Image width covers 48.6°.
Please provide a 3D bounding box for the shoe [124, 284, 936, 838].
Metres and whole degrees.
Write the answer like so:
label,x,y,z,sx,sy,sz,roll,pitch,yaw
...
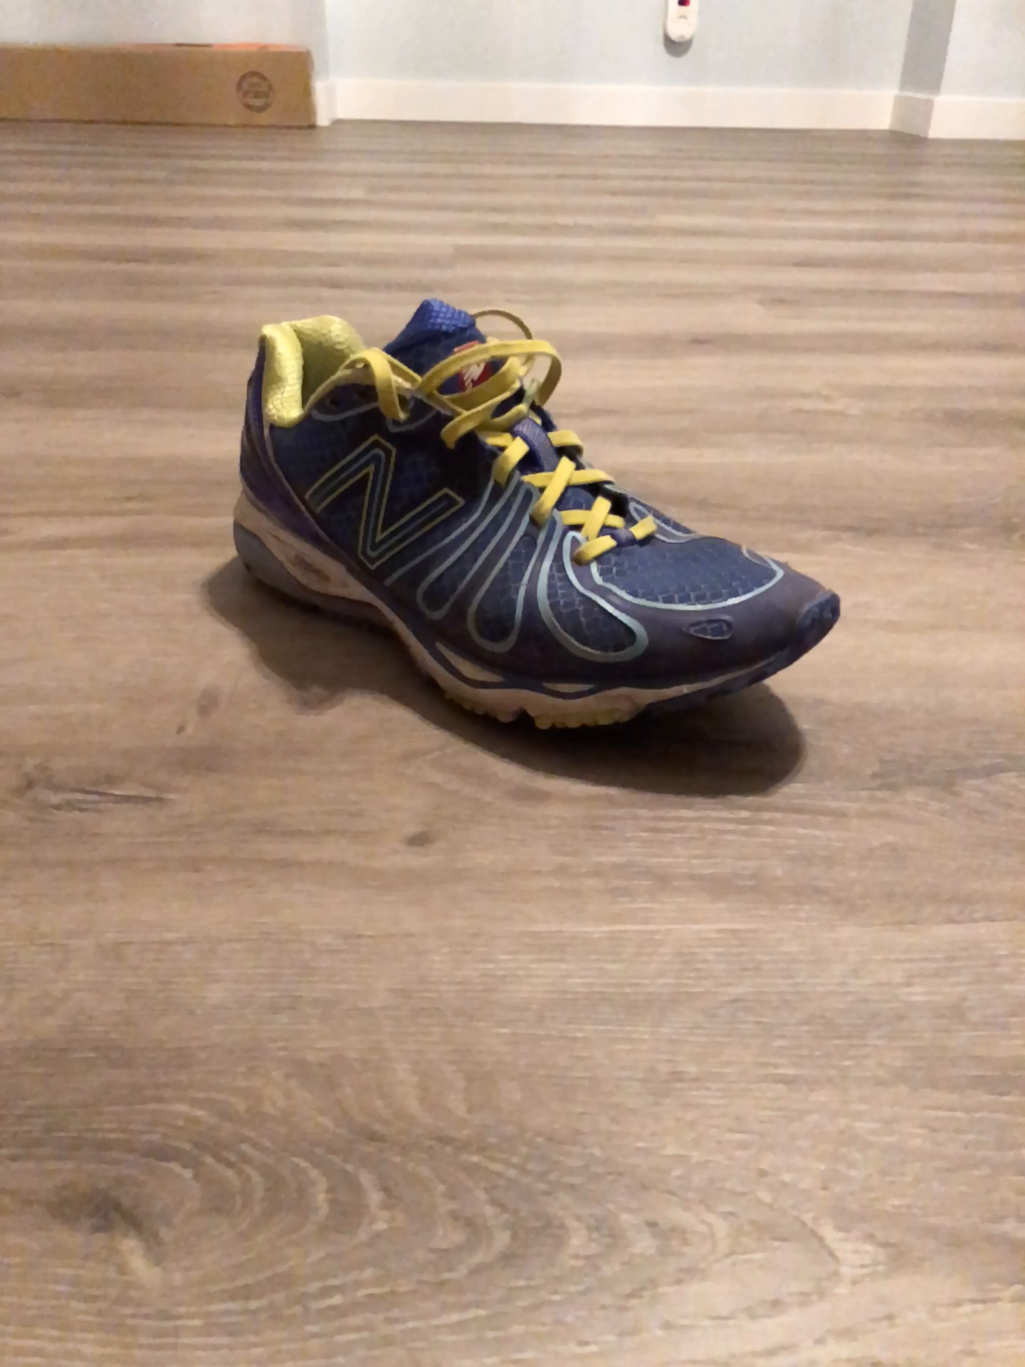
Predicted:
label,x,y,z,sx,sy,sz,roll,pitch,yaw
shoe,-0.007,-0.062,0.393,0.250,0.099,0.110,23,36,33
